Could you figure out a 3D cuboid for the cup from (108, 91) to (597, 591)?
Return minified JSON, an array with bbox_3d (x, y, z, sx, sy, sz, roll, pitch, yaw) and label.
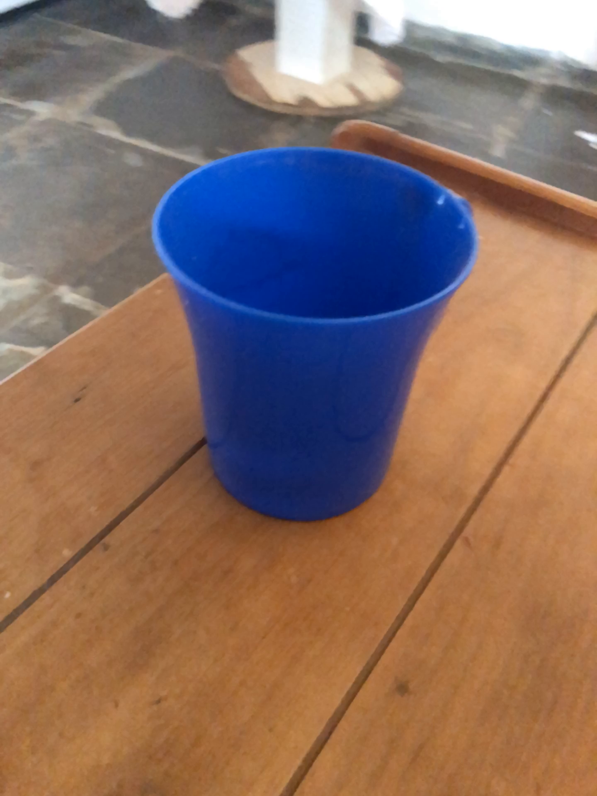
[{"bbox_3d":[0.020,-0.027,0.234,0.121,0.099,0.100,-29,55,-27],"label":"cup"}]
